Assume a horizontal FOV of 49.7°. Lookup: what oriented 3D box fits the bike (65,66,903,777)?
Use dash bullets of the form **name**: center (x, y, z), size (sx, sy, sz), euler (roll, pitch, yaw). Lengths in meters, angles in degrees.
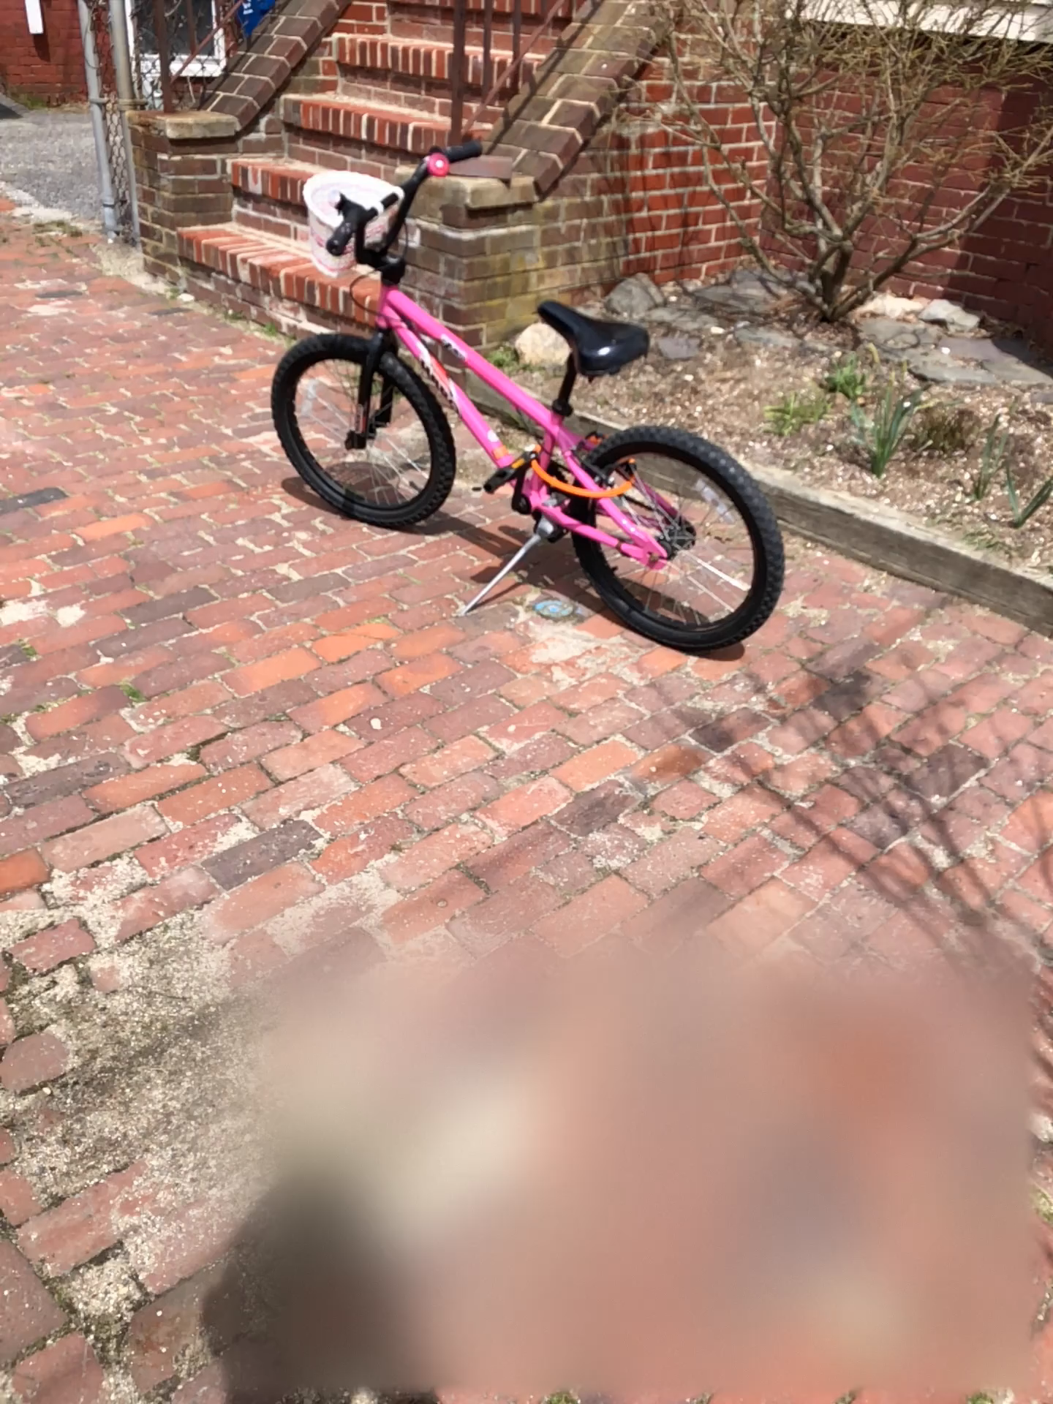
- **bike**: center (-0.109, -0.661, 2.334), size (1.339, 0.906, 0.714), euler (25, 38, 25)
